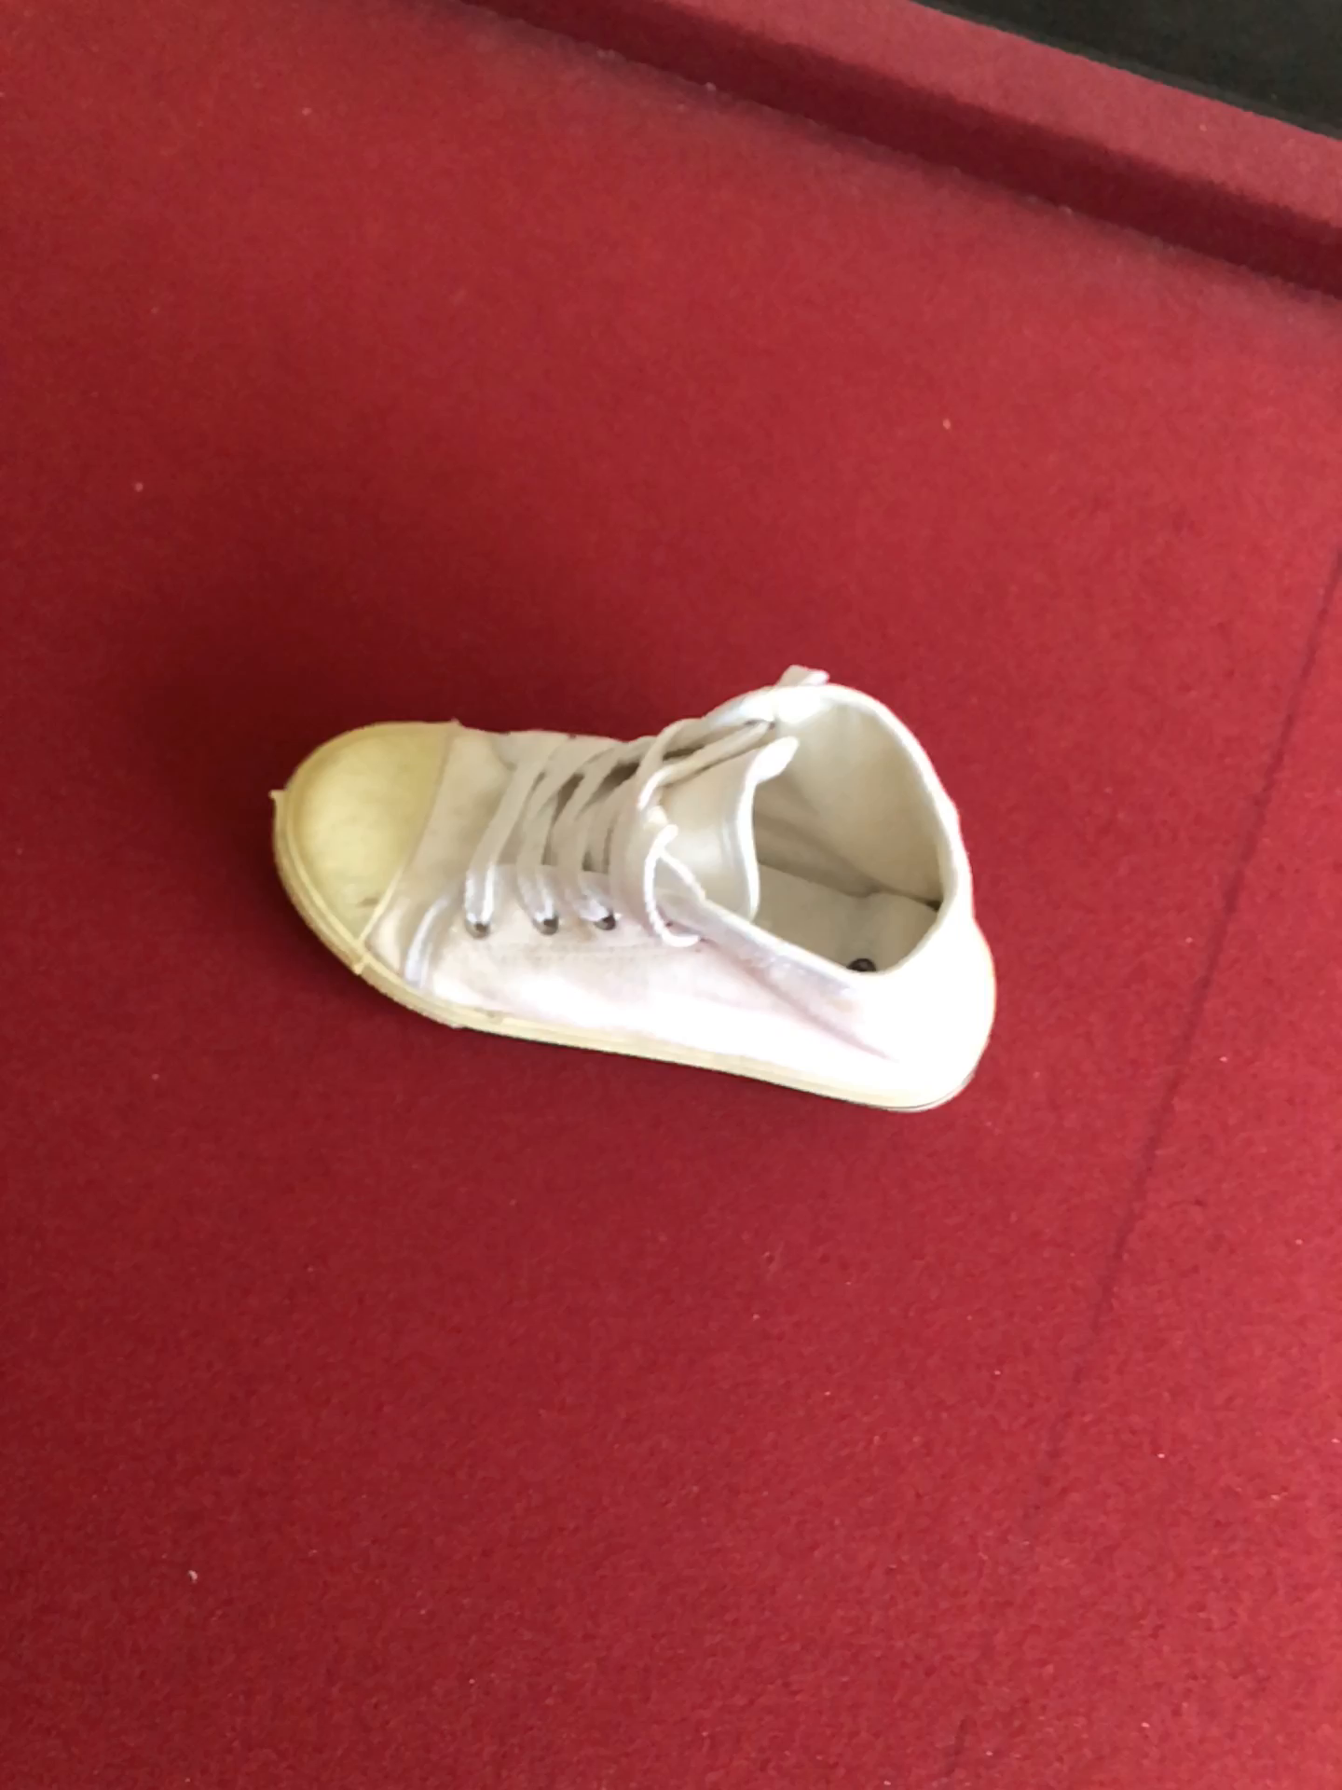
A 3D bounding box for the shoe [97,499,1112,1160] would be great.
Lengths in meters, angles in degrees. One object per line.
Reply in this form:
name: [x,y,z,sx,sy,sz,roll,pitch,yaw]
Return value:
shoe: [-0.012,-0.014,0.389,0.220,0.090,0.100,12,65,3]
